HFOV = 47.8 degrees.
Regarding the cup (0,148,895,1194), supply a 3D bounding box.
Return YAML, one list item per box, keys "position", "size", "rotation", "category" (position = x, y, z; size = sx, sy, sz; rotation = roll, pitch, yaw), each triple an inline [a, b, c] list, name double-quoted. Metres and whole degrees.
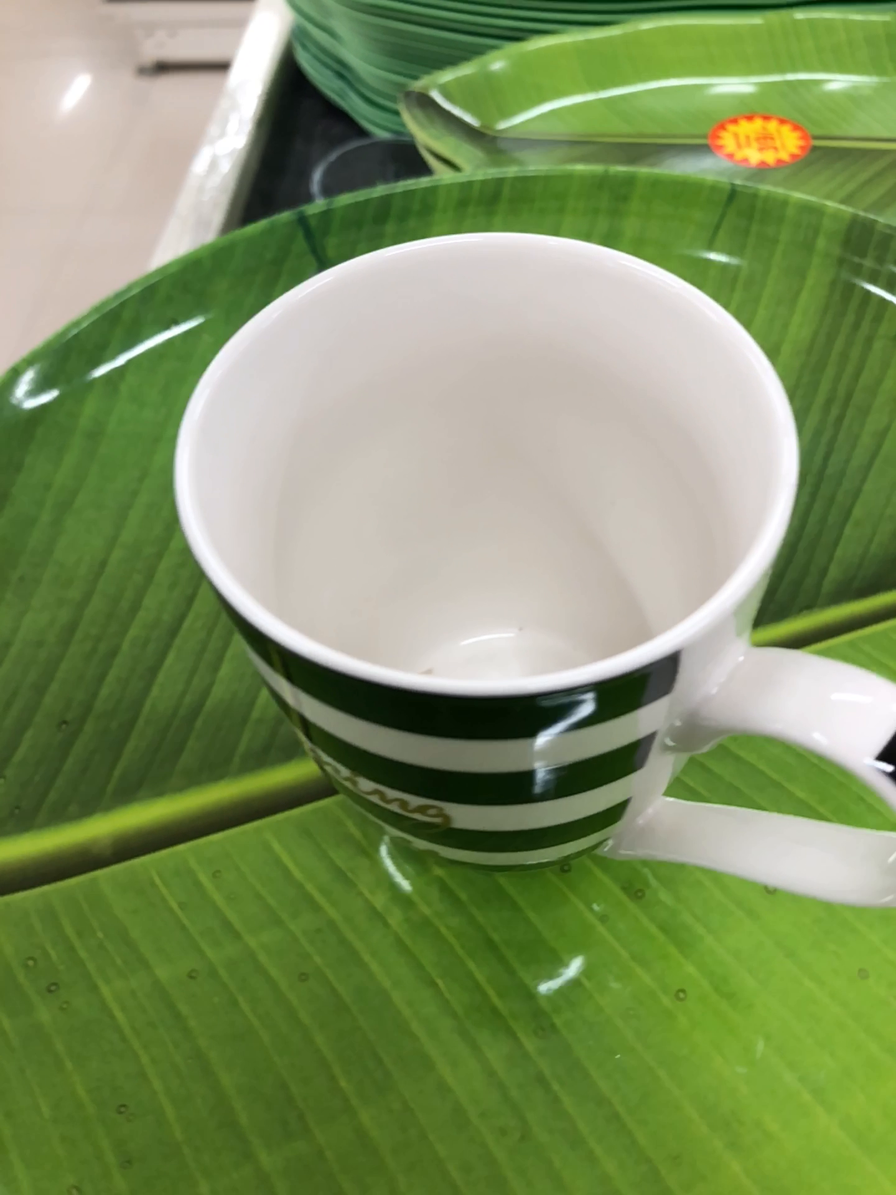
- position: [0.016, 0.008, 0.152]
  size: [0.130, 0.080, 0.080]
  rotation: [31, 61, 24]
  category: "cup"
